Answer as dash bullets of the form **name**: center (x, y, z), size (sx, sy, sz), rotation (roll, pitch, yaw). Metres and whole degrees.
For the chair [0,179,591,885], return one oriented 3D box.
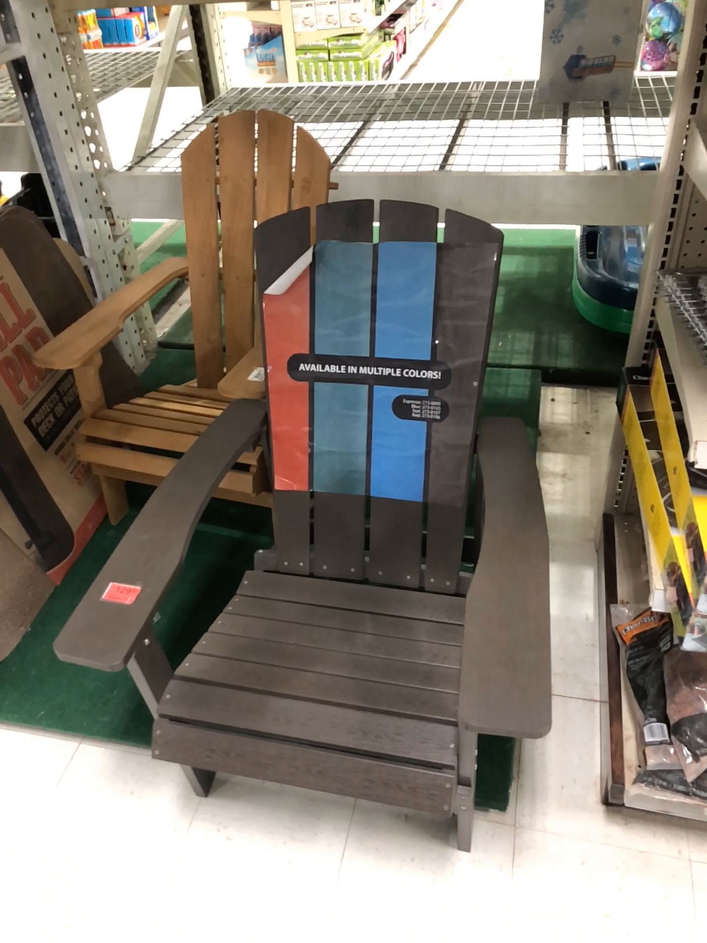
- **chair**: center (0.013, 0.035, 1.425), size (0.717, 0.816, 0.919), rotation (6, 40, 13)

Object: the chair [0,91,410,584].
- **chair**: center (-0.301, -0.409, 2.024), size (0.637, 0.846, 0.979), rotation (10, 41, 17)
